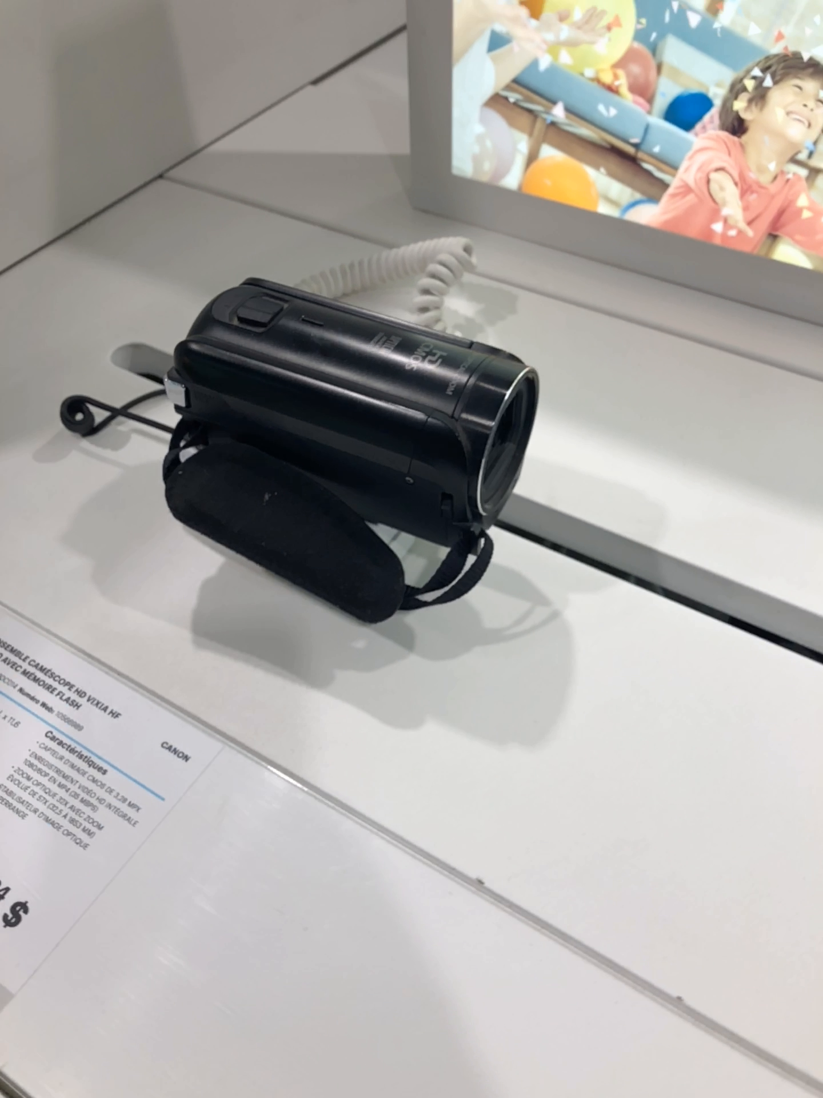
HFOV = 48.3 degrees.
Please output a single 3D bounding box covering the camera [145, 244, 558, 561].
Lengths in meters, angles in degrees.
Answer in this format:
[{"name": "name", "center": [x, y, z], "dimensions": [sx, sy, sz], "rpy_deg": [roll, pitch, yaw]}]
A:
[{"name": "camera", "center": [-0.018, -0.049, 0.291], "dimensions": [0.113, 0.050, 0.050], "rpy_deg": [21, 52, 20]}]
